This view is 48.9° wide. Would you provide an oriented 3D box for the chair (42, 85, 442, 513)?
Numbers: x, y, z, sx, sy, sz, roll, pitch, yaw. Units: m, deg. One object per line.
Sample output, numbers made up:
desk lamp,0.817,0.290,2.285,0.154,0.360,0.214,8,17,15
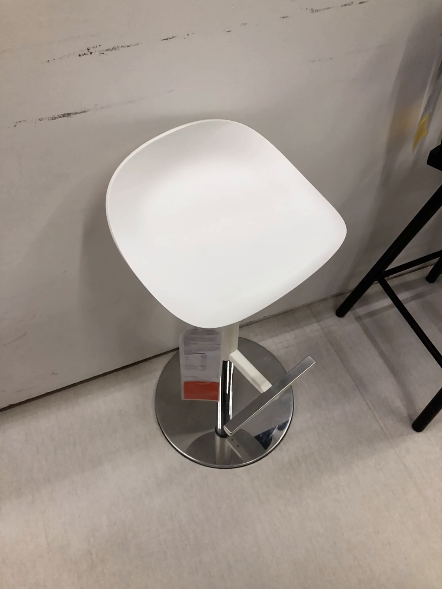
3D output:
chair,0.020,0.057,1.113,0.441,0.746,0.512,-34,62,-23
